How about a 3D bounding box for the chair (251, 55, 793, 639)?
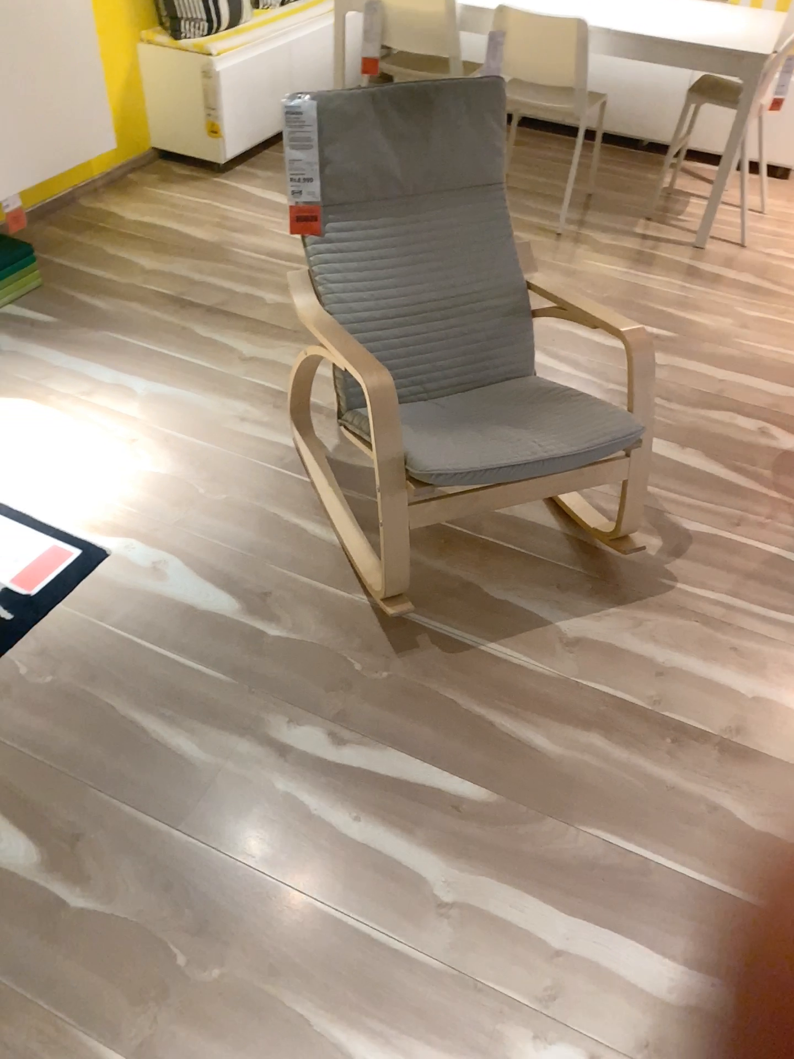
[{"bbox_3d":[0.160,-0.412,1.773,0.731,0.916,0.722,-13,47,-18],"label":"chair"}]
